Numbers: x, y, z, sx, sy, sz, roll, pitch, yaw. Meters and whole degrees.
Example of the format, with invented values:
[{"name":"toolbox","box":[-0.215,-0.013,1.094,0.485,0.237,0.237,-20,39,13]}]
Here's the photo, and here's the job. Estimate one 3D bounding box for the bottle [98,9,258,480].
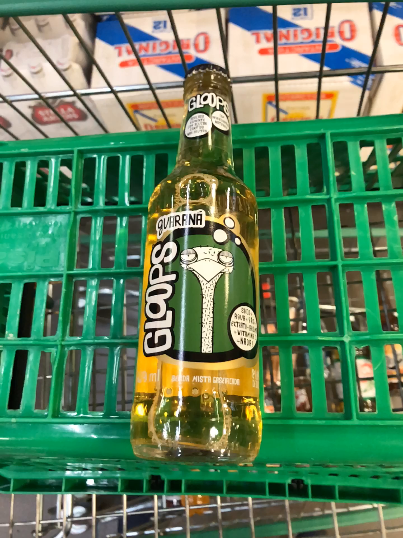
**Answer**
[{"name":"bottle","box":[-0.004,-0.020,0.225,0.060,0.050,0.220,-1,72,8]}]
